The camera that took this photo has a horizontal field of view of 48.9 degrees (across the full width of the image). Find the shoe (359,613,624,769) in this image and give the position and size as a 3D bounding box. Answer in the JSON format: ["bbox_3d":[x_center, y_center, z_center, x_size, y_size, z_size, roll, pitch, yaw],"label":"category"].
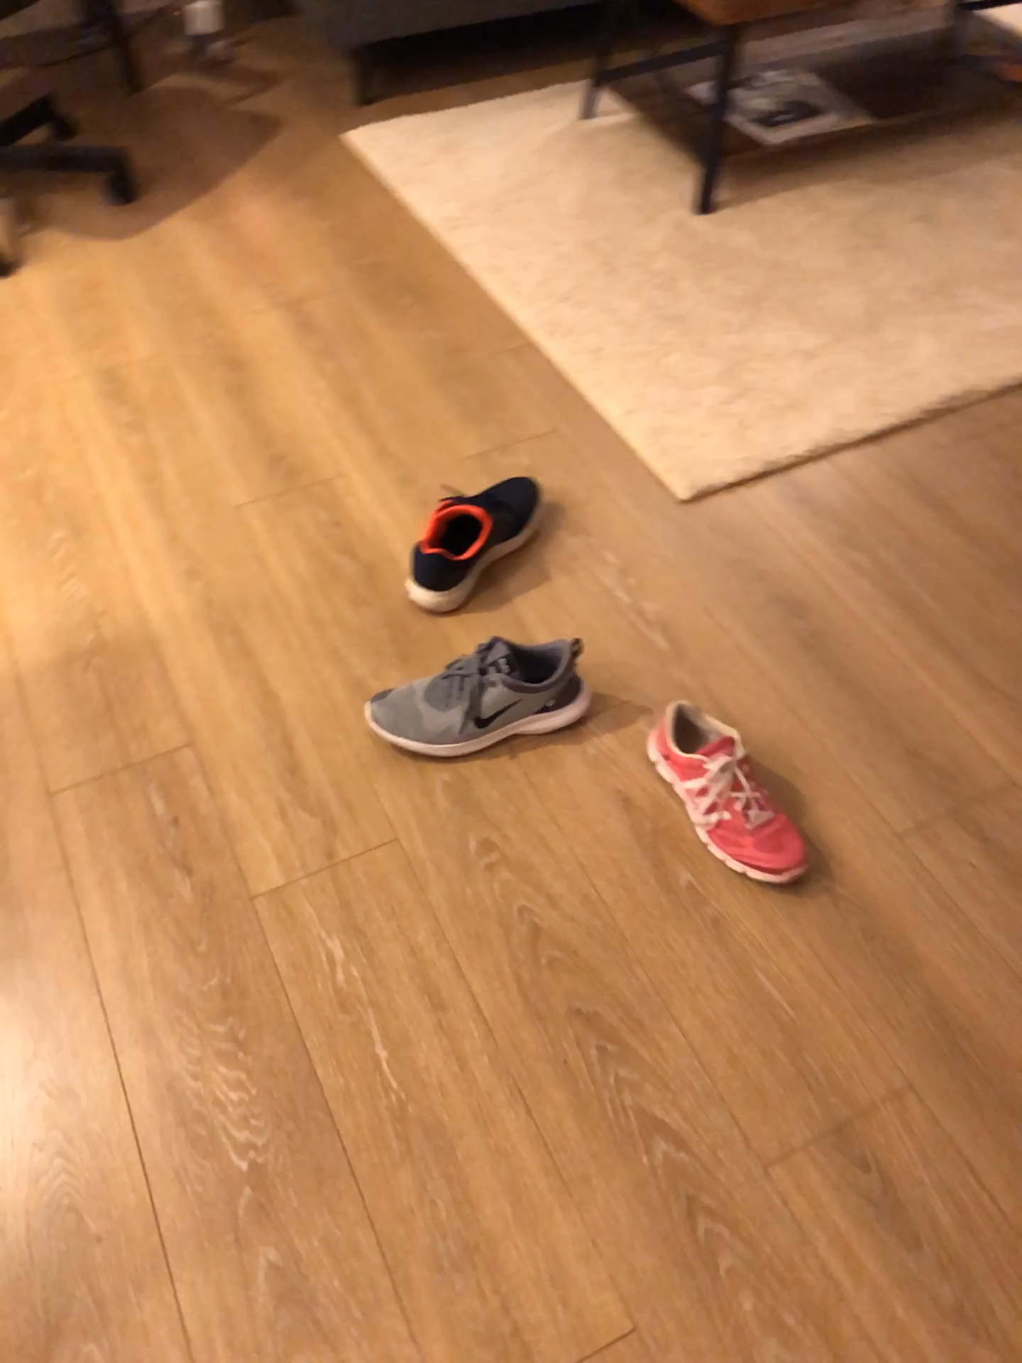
[{"bbox_3d":[-0.027,0.010,1.476,0.320,0.080,0.131,-10,49,-9],"label":"shoe"}]

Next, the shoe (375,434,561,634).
[{"bbox_3d":[-0.058,-0.230,1.704,0.130,0.099,0.321,23,52,19],"label":"shoe"}]

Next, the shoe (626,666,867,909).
[{"bbox_3d":[0.283,0.124,1.395,0.130,0.090,0.281,-26,54,-21],"label":"shoe"}]
